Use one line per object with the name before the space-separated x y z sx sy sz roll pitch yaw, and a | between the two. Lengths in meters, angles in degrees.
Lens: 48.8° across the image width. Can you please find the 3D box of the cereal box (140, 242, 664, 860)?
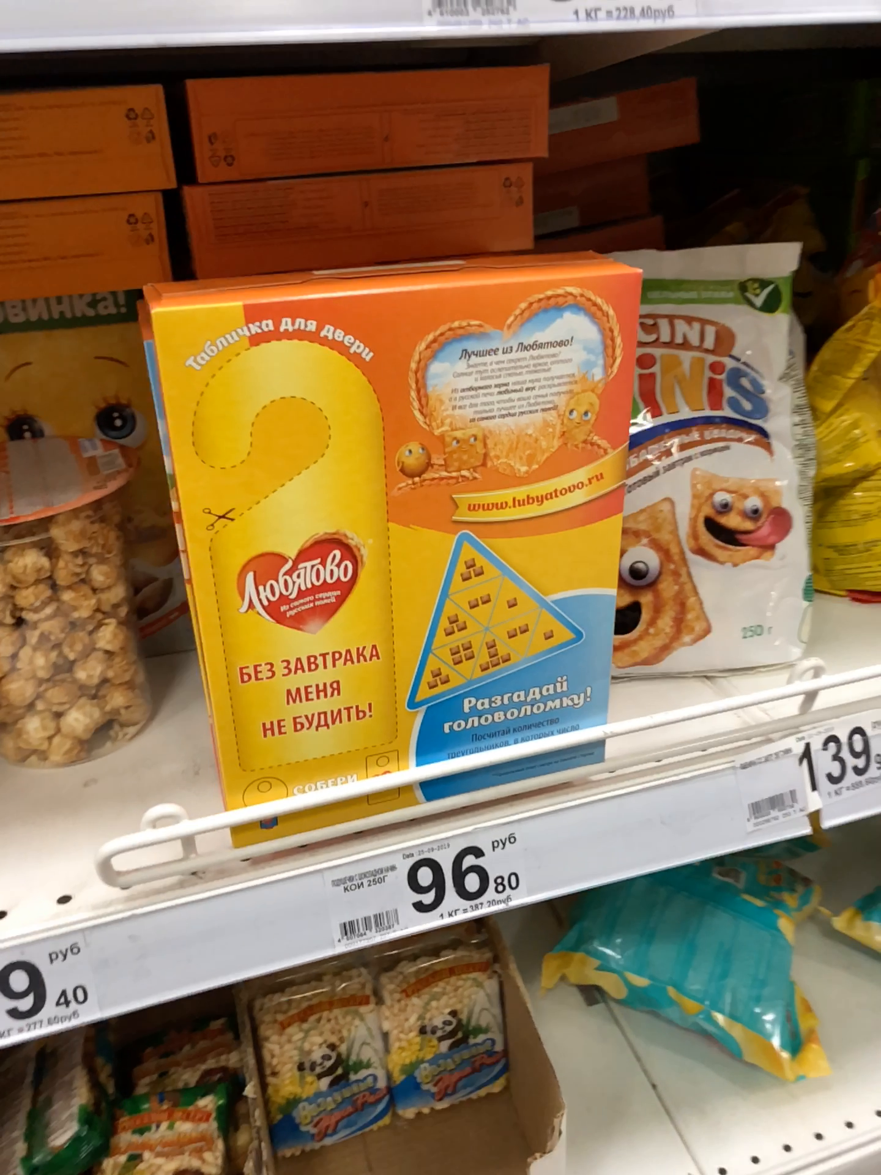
cereal box | -0.011 -0.012 0.400 0.180 0.229 0.050 -10 29 -15
